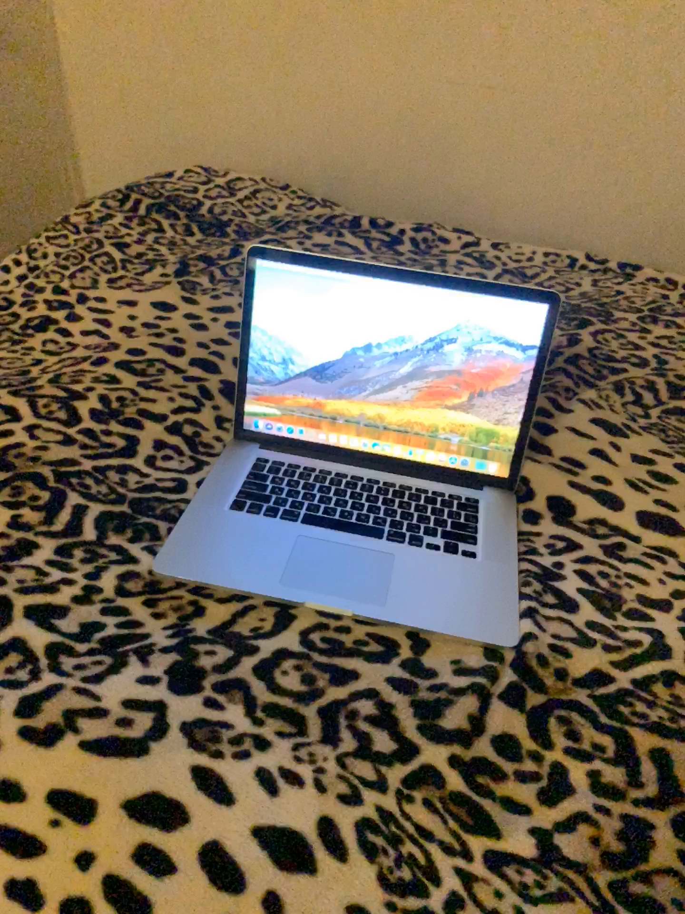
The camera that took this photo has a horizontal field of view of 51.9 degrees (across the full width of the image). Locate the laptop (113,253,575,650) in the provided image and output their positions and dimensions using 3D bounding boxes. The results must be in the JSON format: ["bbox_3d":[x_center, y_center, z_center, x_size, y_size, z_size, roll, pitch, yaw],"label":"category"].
[{"bbox_3d":[0.017,-0.027,0.710,0.348,0.222,0.301,10,36,7],"label":"laptop"}]
